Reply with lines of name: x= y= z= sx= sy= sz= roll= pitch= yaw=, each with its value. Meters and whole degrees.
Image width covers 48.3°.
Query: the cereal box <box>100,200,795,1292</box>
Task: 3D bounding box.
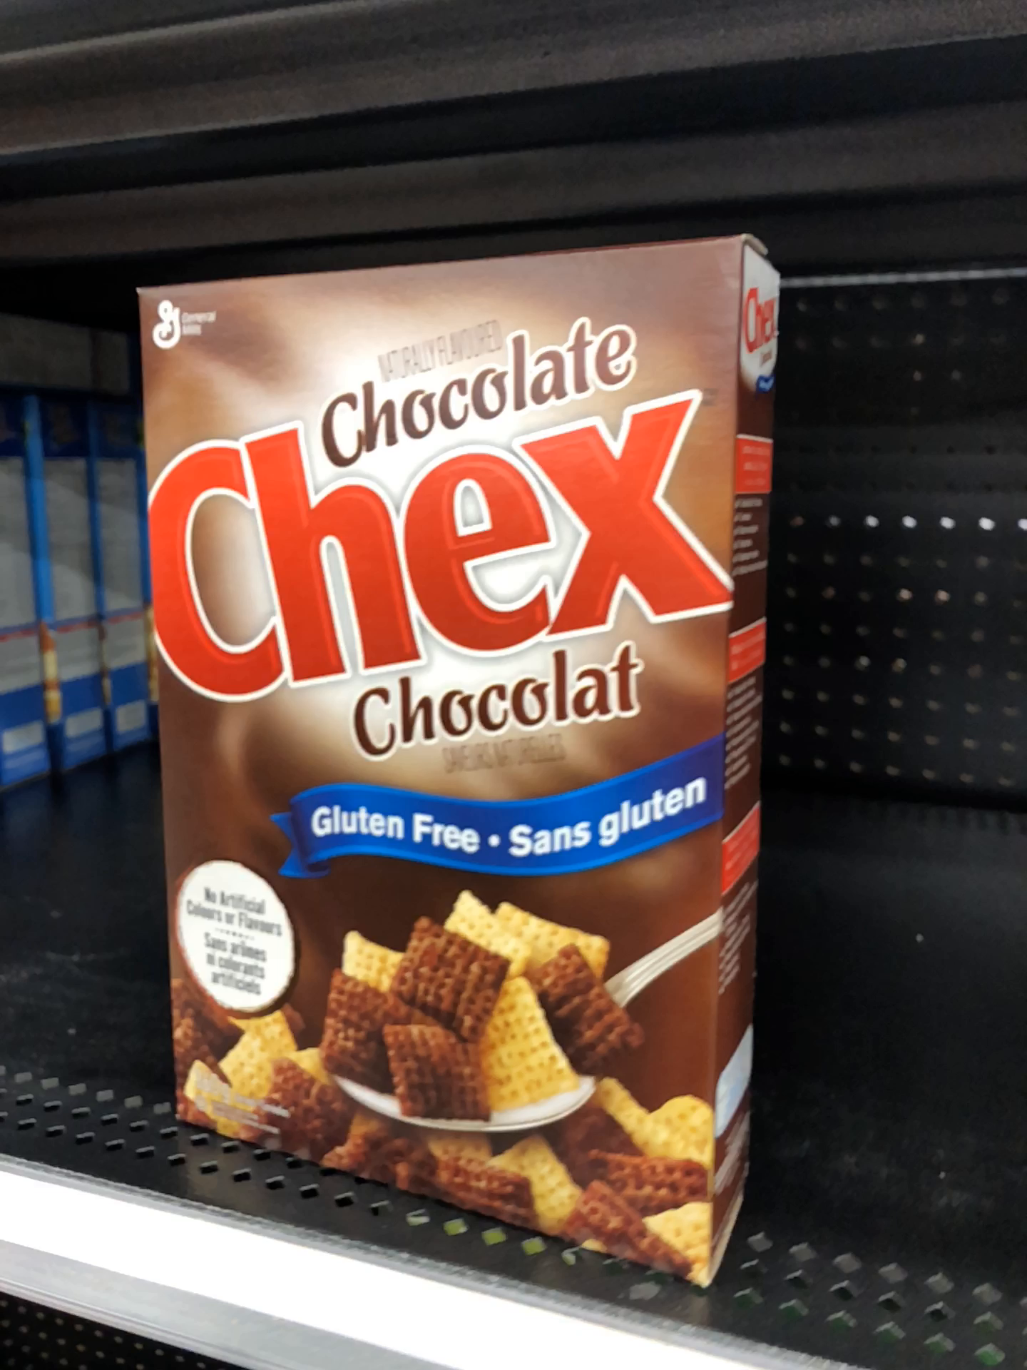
cereal box: x=-0.025 y=0.014 z=0.352 sx=0.200 sy=0.279 sz=0.050 roll=5 pitch=11 yaw=26
